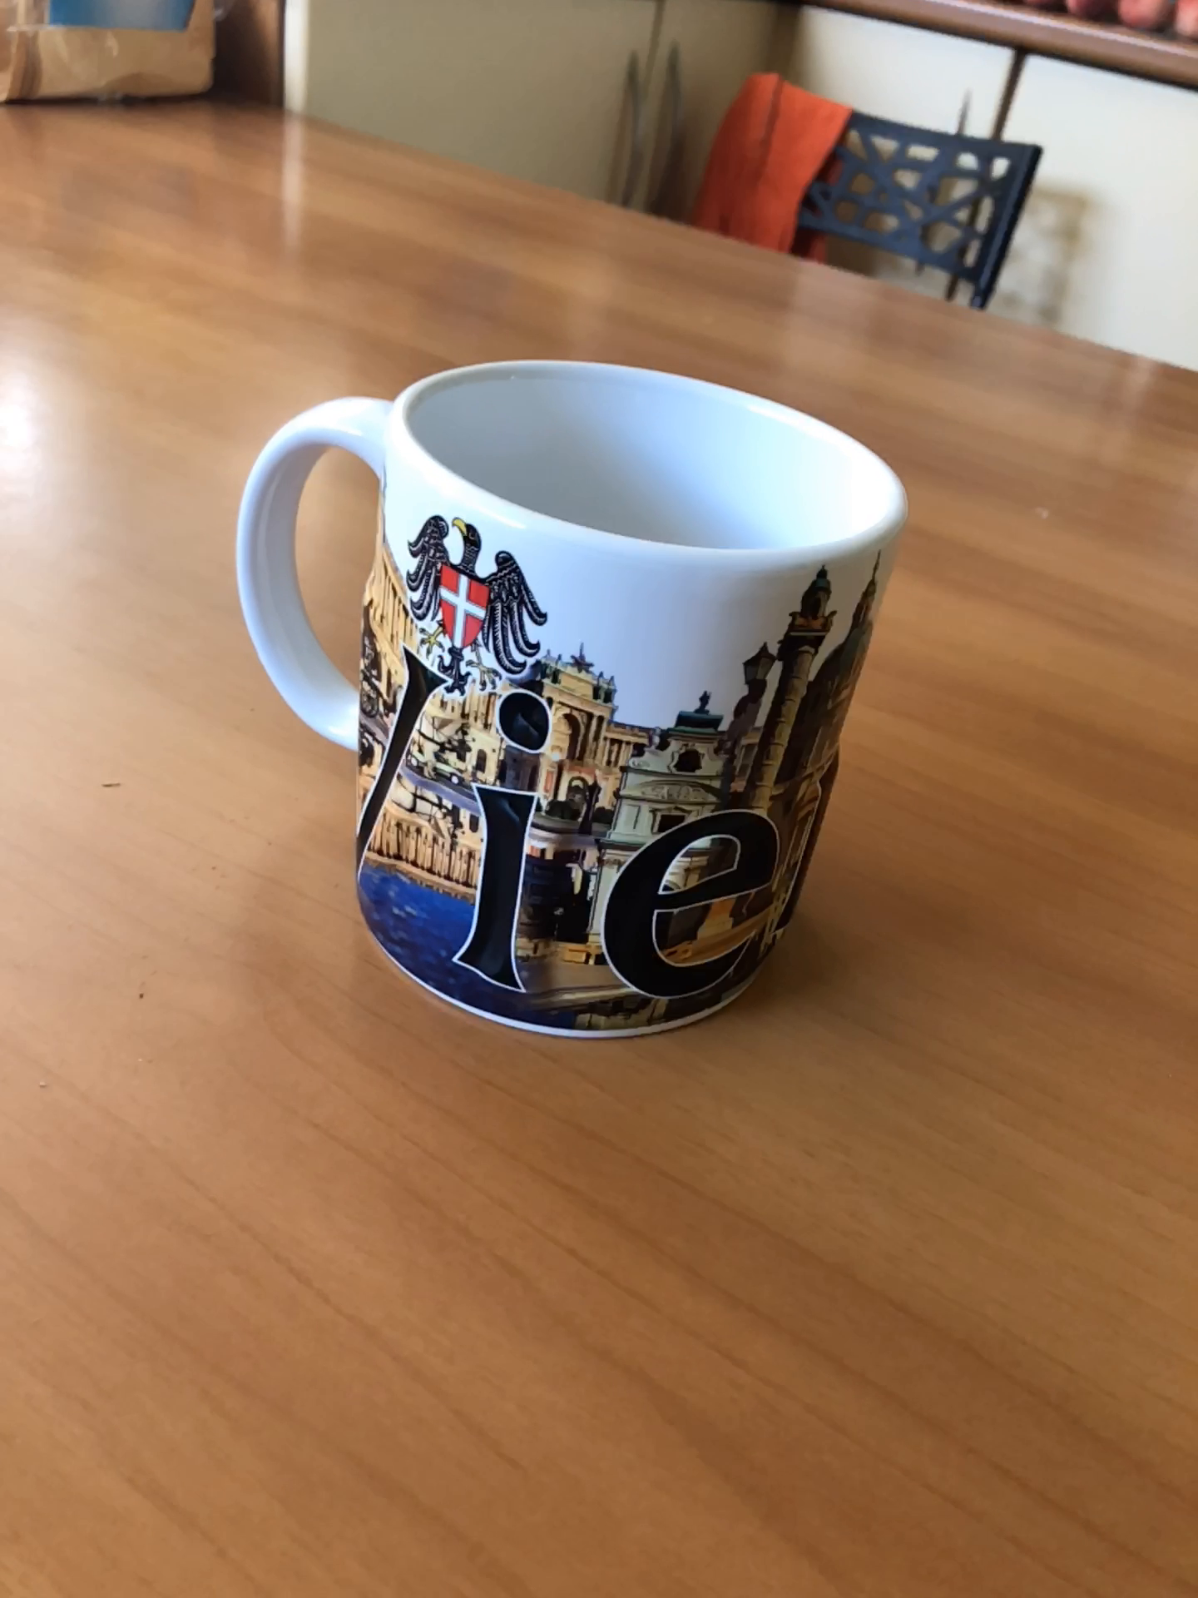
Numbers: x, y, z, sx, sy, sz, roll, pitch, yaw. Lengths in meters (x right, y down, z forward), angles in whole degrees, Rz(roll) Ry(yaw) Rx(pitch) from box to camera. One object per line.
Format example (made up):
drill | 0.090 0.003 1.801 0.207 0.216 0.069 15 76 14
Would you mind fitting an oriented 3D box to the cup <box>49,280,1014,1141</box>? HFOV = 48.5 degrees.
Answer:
cup | -0.014 -0.031 0.281 0.150 0.099 0.111 24 36 19
